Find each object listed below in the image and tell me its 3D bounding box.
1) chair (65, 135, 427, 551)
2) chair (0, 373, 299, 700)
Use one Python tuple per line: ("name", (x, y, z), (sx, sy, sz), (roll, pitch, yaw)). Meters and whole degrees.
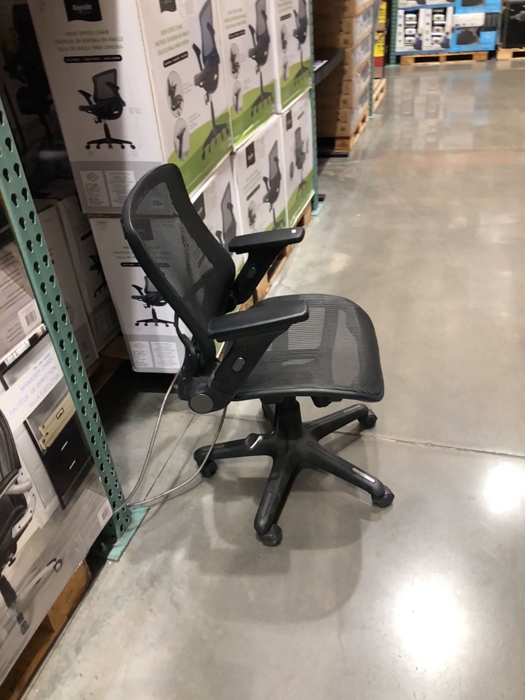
("chair", (0.024, -0.016, 1.614), (0.698, 0.936, 0.637), (-1, 33, 7))
("chair", (-0.434, 0.745, 0.299), (0.798, 1.145, 0.909), (-1, 33, 8))
